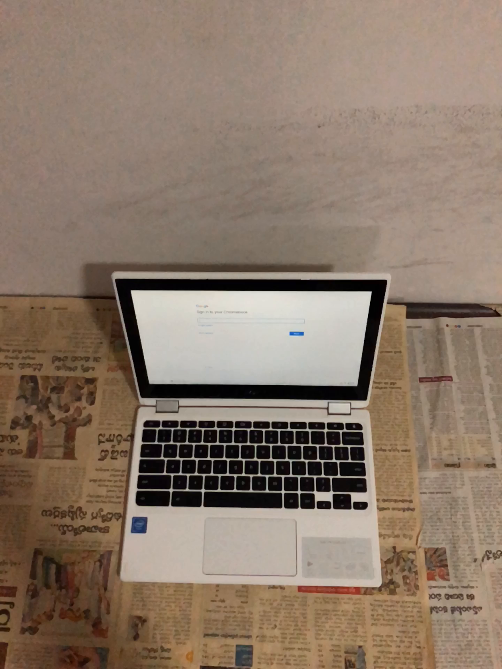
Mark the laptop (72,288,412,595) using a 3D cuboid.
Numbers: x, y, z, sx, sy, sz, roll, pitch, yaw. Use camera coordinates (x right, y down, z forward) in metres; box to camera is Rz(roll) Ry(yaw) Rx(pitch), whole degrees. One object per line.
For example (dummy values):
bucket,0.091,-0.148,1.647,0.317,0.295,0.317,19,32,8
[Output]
laptop,-0.003,0.112,0.574,0.268,0.168,0.278,0,65,2
